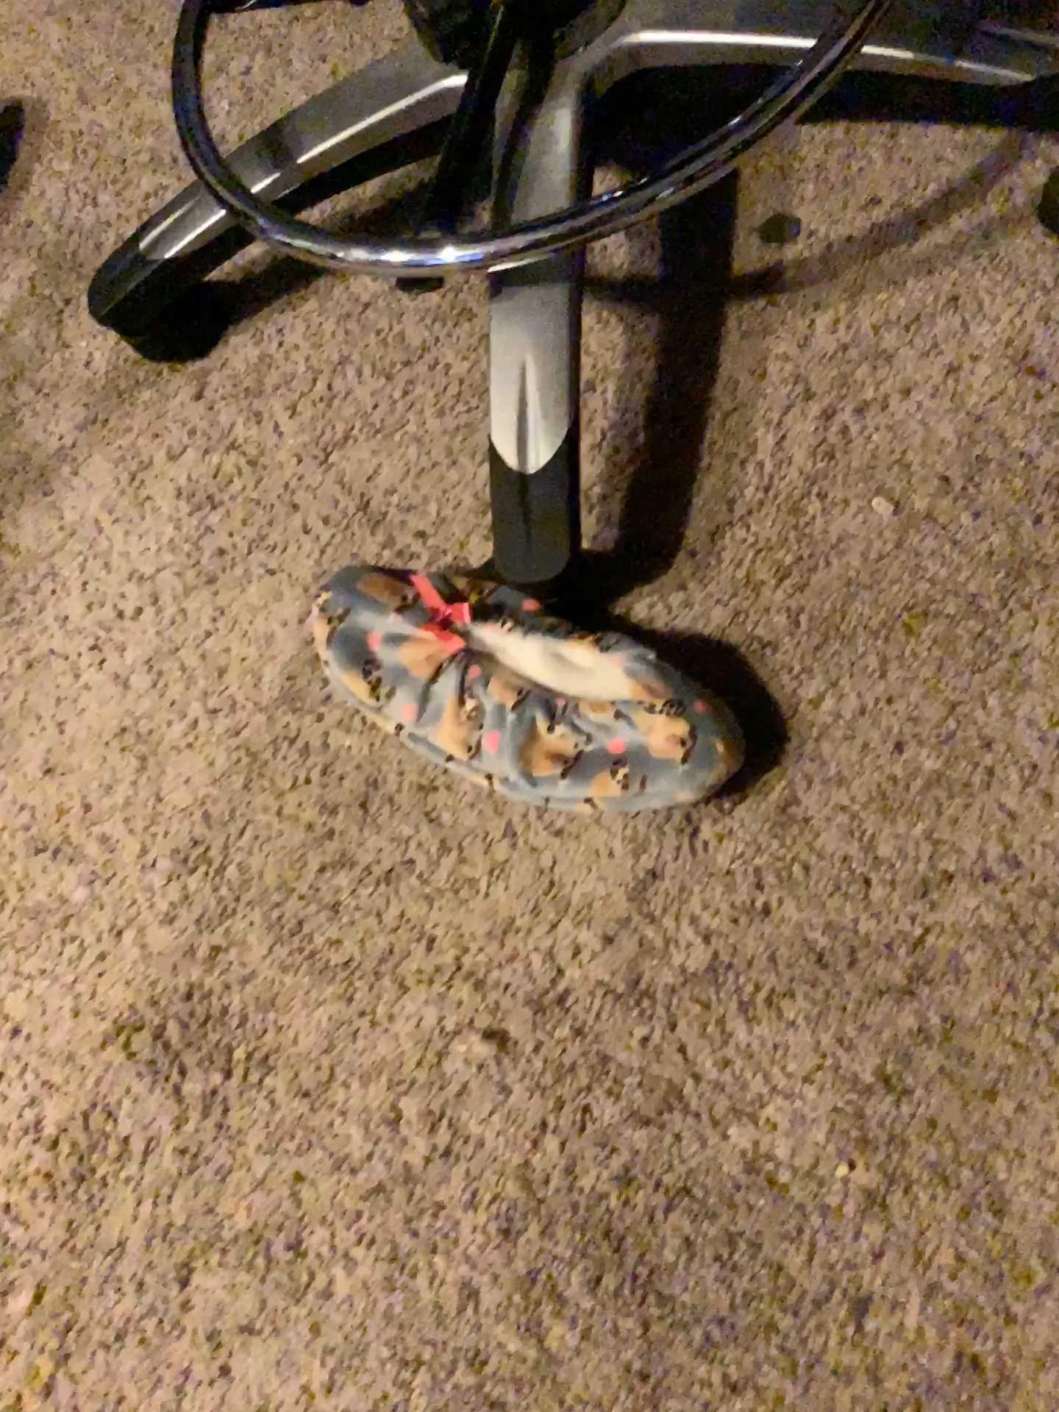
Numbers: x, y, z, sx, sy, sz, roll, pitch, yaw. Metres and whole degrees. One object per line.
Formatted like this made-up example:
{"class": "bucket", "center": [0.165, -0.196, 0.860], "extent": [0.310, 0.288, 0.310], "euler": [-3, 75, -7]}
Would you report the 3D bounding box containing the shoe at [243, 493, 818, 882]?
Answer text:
{"class": "shoe", "center": [-0.002, -0.016, 0.602], "extent": [0.260, 0.070, 0.120], "euler": [17, 75, 25]}
